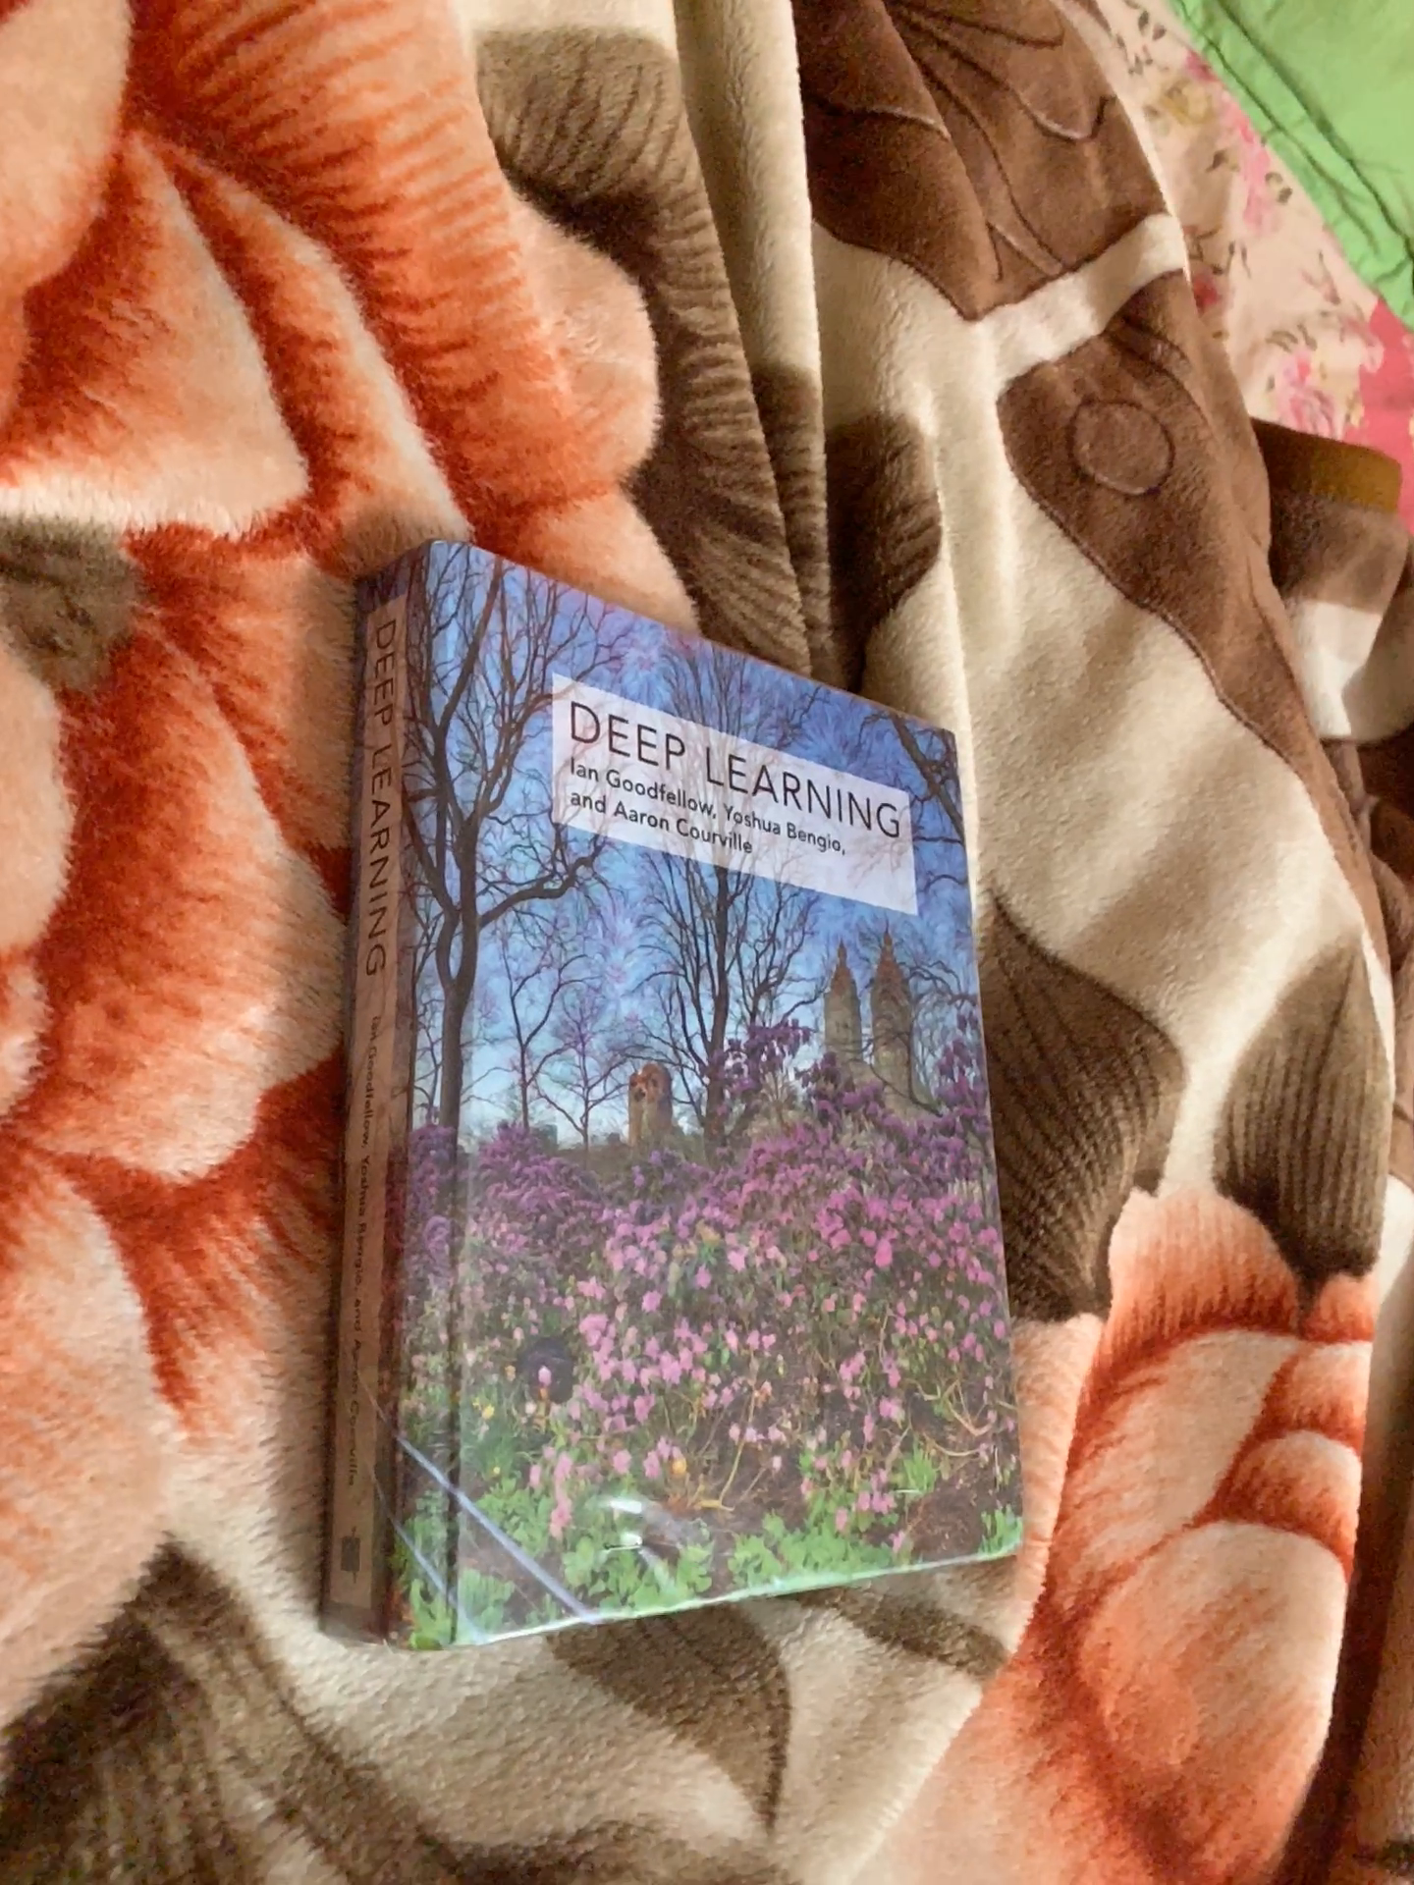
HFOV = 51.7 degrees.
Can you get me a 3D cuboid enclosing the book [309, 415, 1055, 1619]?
[{"bbox_3d":[0.005,0.021,0.386,0.211,0.030,0.260,13,68,-41],"label":"book"}]
